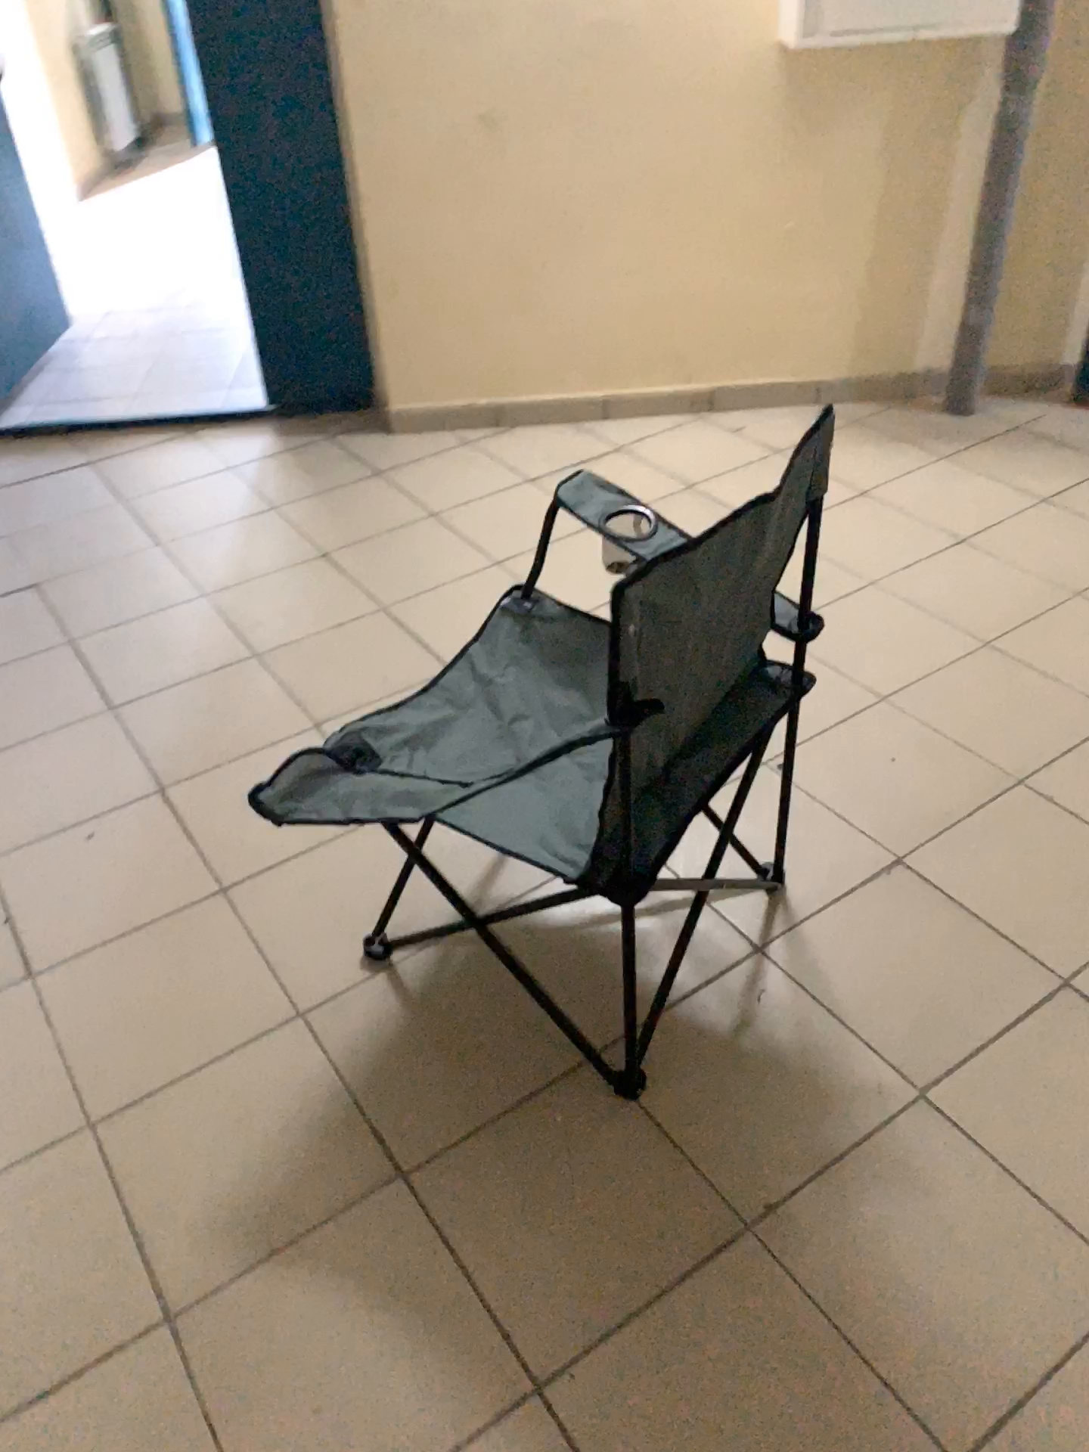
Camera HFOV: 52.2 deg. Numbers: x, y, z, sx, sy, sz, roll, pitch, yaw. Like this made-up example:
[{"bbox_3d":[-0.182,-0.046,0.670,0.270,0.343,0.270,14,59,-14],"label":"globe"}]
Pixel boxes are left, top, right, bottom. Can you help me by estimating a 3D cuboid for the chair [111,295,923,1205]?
[{"bbox_3d":[0.037,-0.034,1.467,0.561,0.756,0.802,19,43,26],"label":"chair"}]
